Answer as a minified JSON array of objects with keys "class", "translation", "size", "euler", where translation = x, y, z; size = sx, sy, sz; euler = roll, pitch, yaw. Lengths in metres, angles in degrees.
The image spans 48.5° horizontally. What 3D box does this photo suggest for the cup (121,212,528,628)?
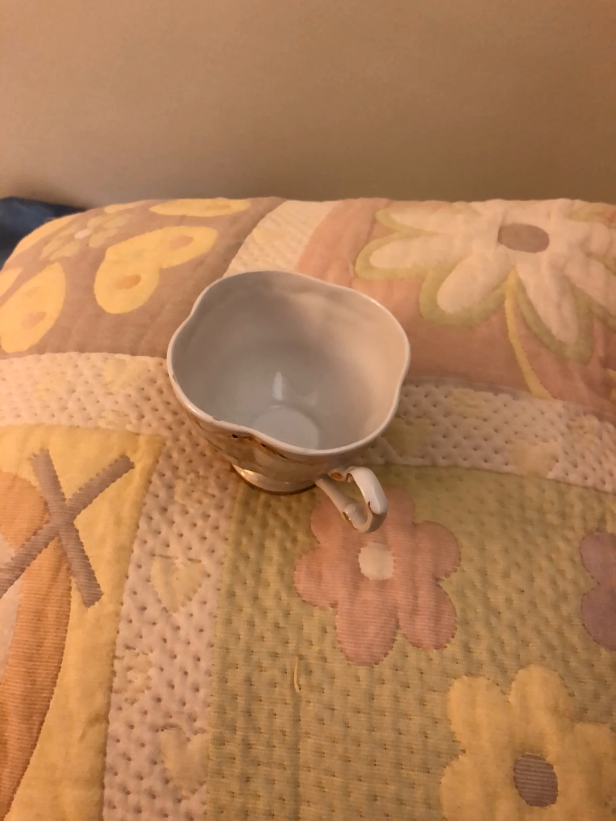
[{"class":"cup","translation":[-0.002,-0.005,0.290],"size":[0.100,0.070,0.141],"euler":[-21,55,-22]}]
